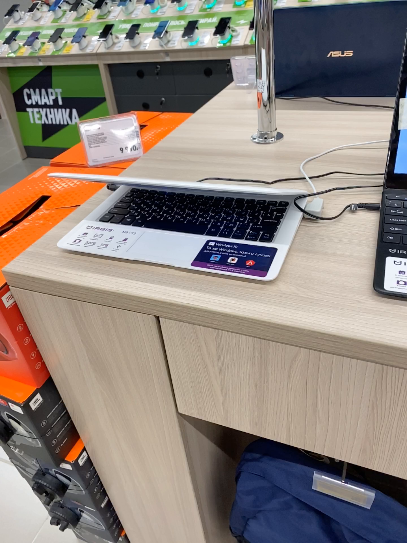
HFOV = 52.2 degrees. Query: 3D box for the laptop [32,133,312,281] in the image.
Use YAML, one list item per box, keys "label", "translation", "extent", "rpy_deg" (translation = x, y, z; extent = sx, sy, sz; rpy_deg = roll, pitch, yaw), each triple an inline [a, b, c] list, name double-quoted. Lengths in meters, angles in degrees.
- label: "laptop"
  translation: [-0.029, -0.095, 0.506]
  extent: [0.280, 0.078, 0.179]
  rpy_deg: [9, 40, 21]
